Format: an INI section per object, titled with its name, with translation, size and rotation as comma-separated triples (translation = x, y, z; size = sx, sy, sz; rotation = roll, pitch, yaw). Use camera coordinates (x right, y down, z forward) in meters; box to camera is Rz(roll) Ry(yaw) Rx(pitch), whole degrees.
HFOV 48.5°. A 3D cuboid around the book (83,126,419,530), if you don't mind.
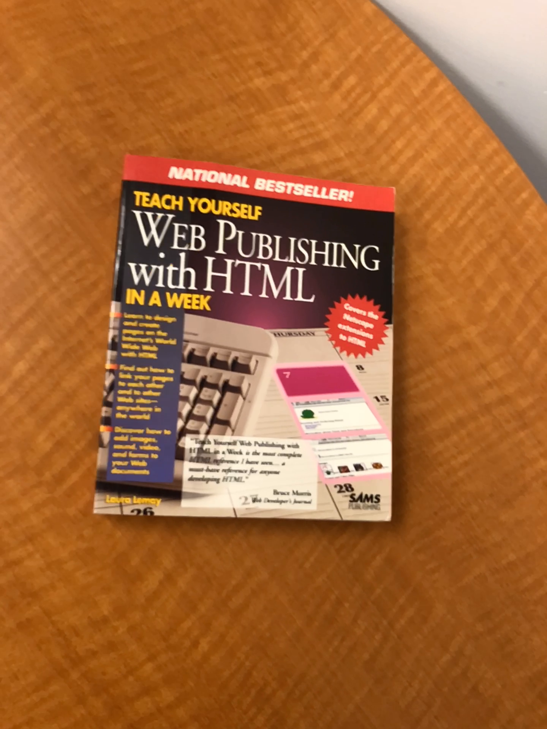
[book]
translation = -0.007, -0.020, 0.416
size = 0.210, 0.040, 0.250
rotation = 5, 80, -12
